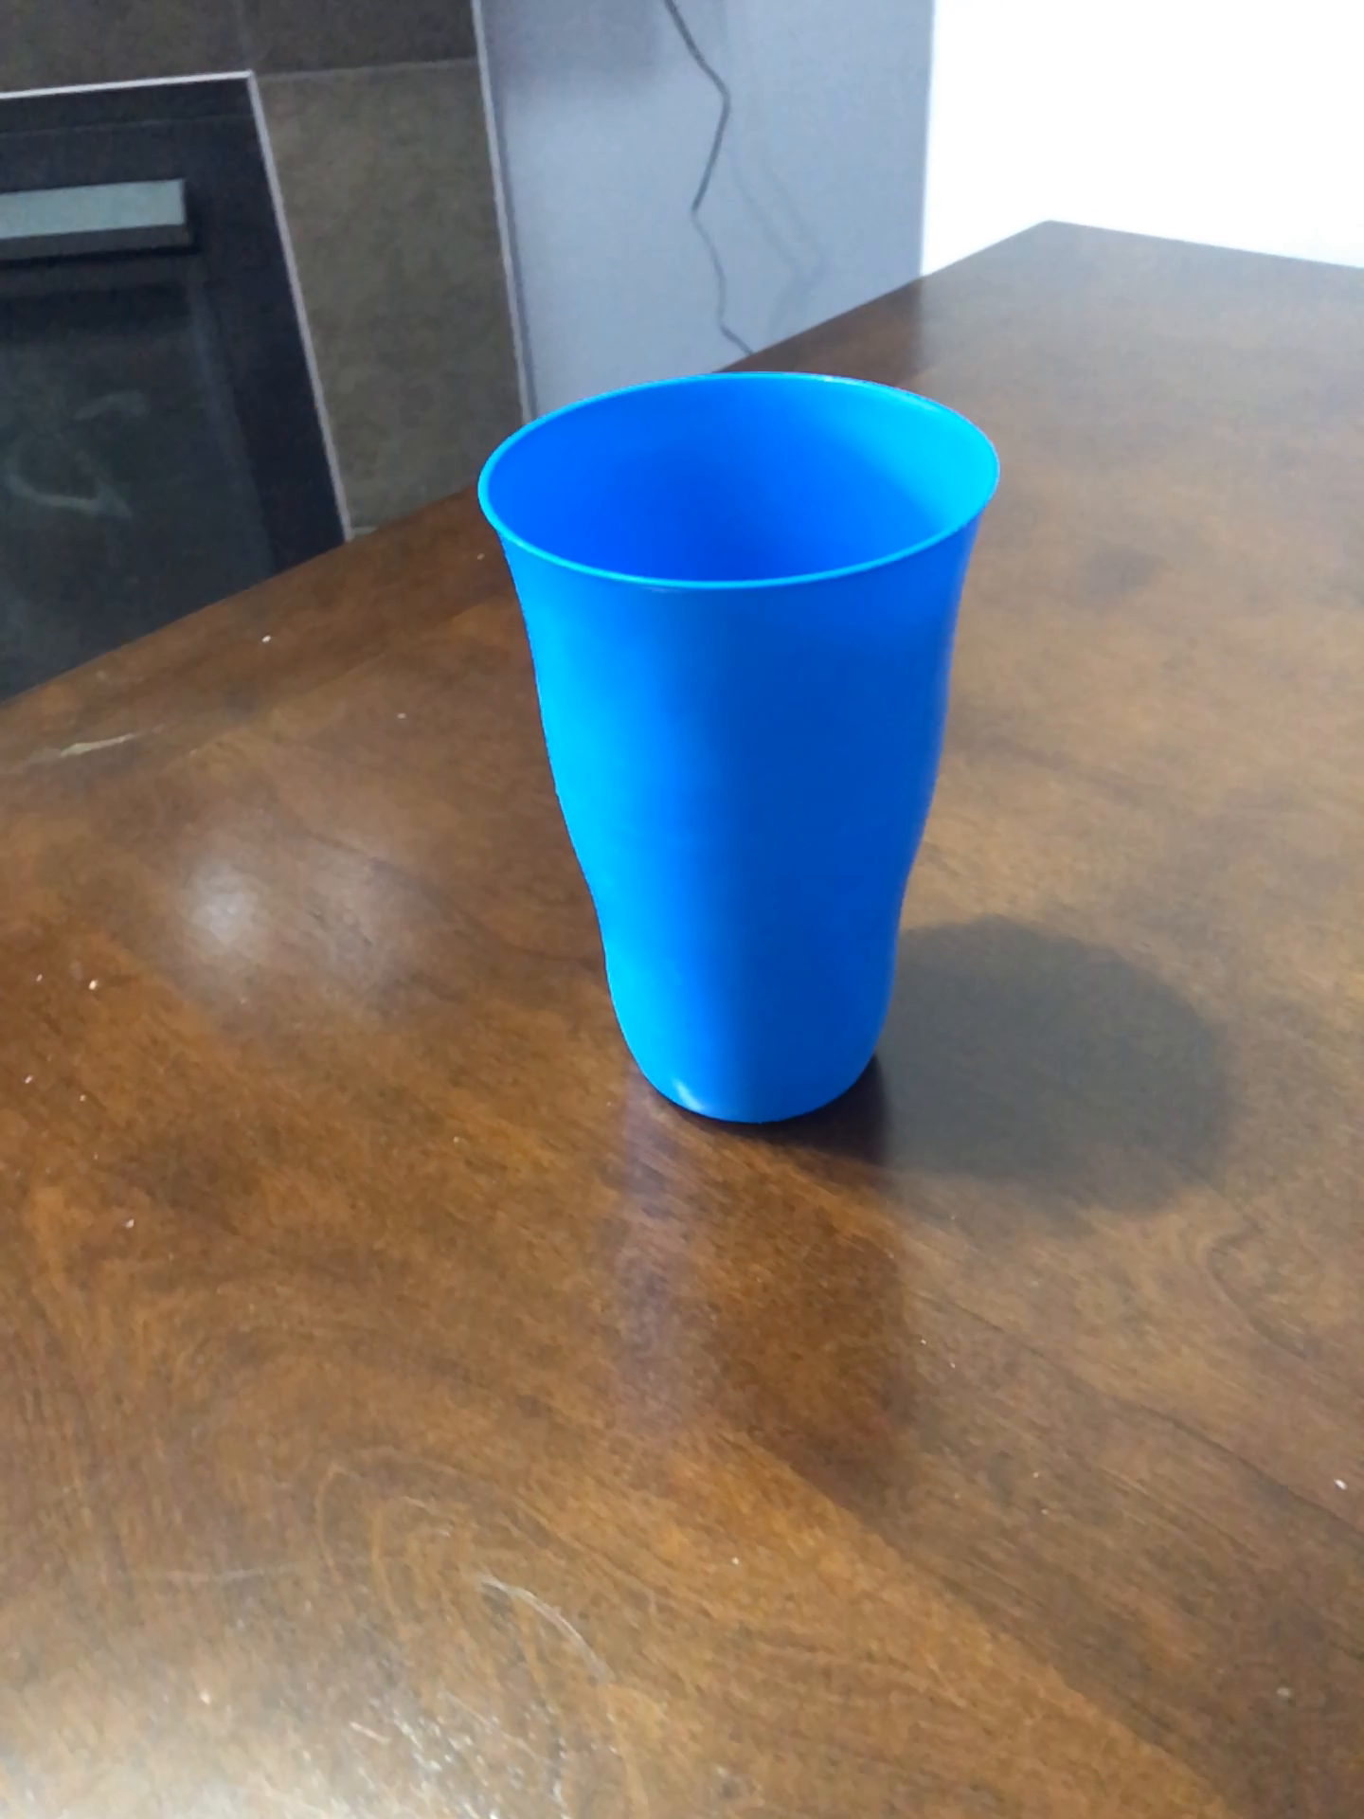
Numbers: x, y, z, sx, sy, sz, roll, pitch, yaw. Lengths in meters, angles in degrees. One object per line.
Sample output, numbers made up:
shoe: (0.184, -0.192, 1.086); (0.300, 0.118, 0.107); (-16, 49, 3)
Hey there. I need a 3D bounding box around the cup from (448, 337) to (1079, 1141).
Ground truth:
cup: (0.015, -0.036, 0.319); (0.100, 0.129, 0.100); (-2, 38, 2)
